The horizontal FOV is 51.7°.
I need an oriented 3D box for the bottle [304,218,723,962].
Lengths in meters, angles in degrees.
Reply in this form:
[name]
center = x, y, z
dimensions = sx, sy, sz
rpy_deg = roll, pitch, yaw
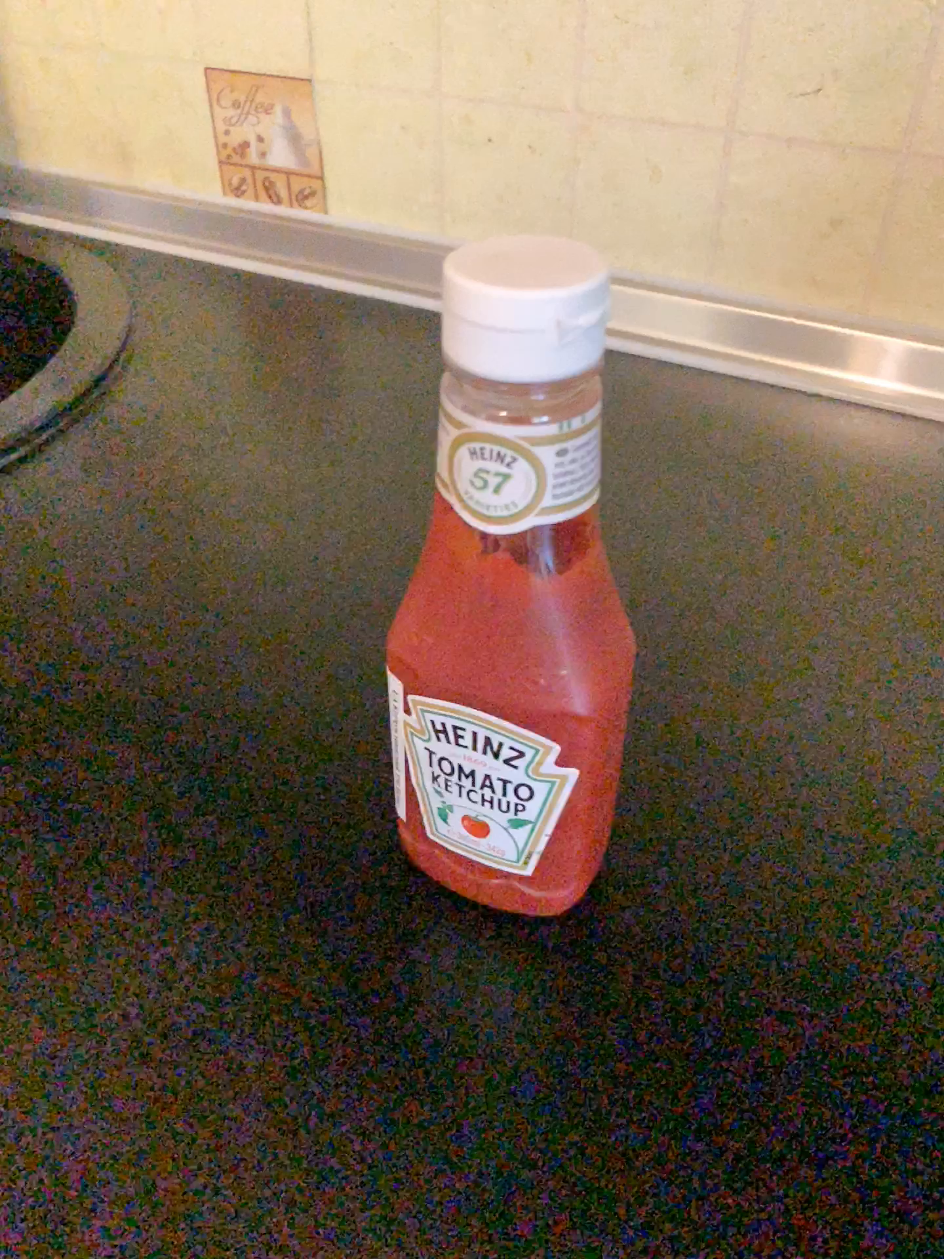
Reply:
[bottle]
center = 0.009, 0.002, 0.256
dimensions = 0.070, 0.189, 0.050
rpy_deg = 17, 43, 19
